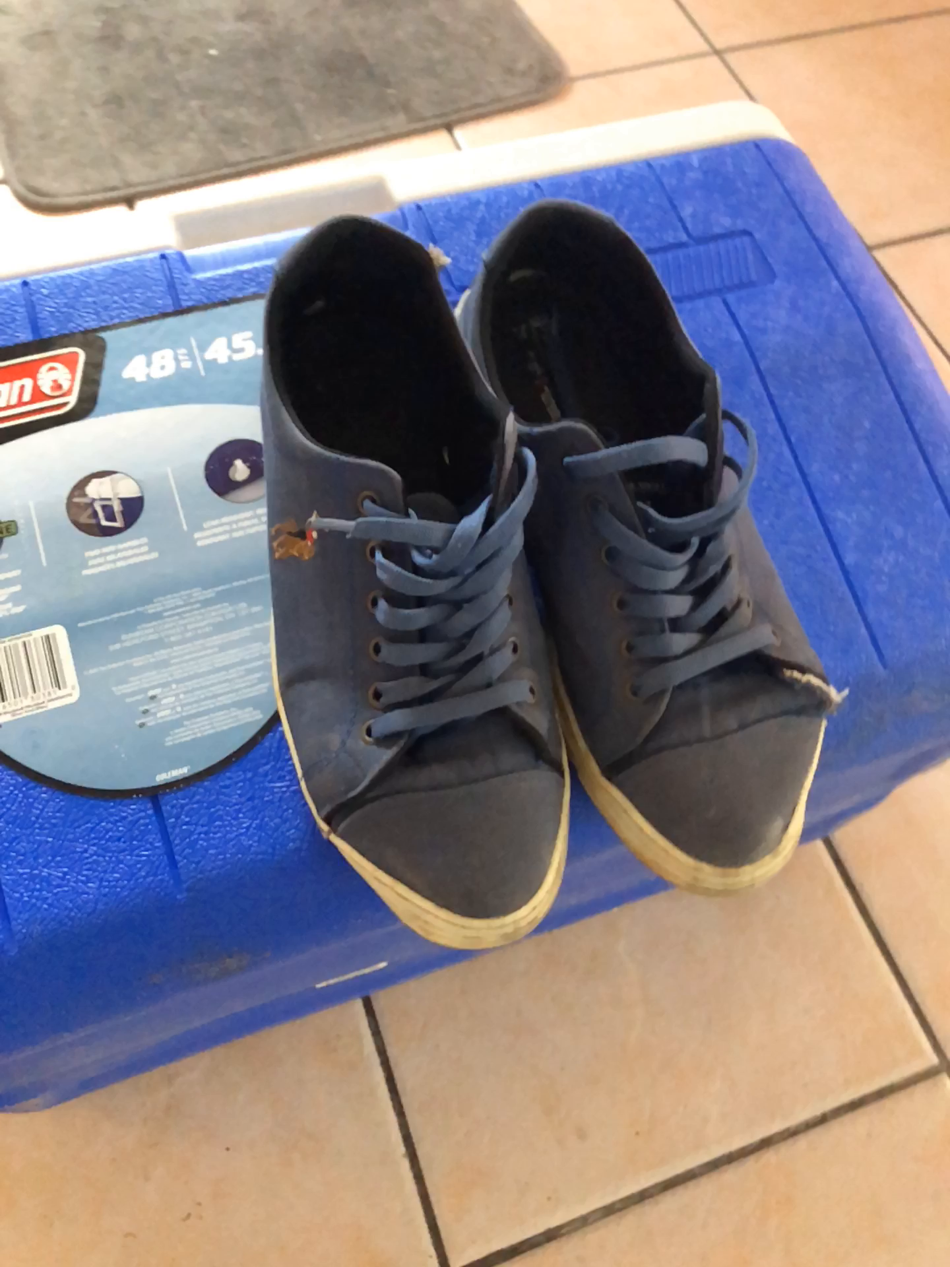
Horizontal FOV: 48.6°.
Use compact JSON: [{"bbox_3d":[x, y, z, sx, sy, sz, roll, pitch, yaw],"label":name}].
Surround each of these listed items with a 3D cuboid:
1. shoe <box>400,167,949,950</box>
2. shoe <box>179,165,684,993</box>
[{"bbox_3d":[0.064,-0.038,0.397,0.107,0.090,0.271,-16,65,-12],"label":"shoe"},{"bbox_3d":[-0.027,-0.025,0.377,0.107,0.090,0.271,-10,69,-9],"label":"shoe"}]
